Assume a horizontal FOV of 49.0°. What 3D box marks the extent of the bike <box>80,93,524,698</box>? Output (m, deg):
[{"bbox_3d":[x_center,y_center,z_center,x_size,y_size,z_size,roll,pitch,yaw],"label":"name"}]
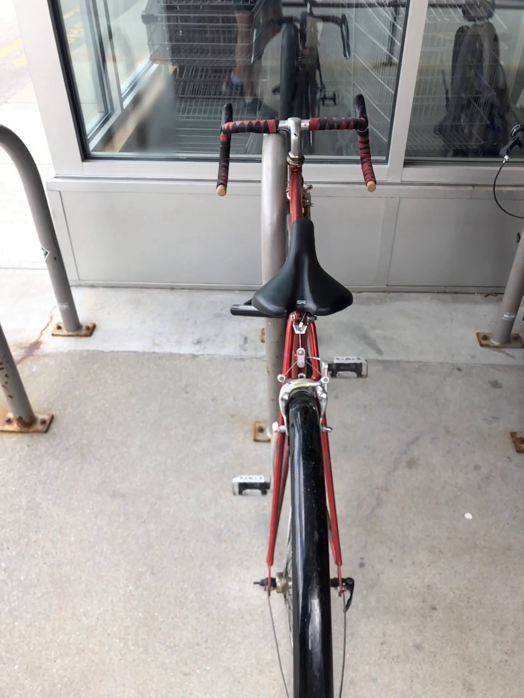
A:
[{"bbox_3d":[0.078,0.071,1.435,0.458,0.787,1.700,1,42,1],"label":"bike"}]
